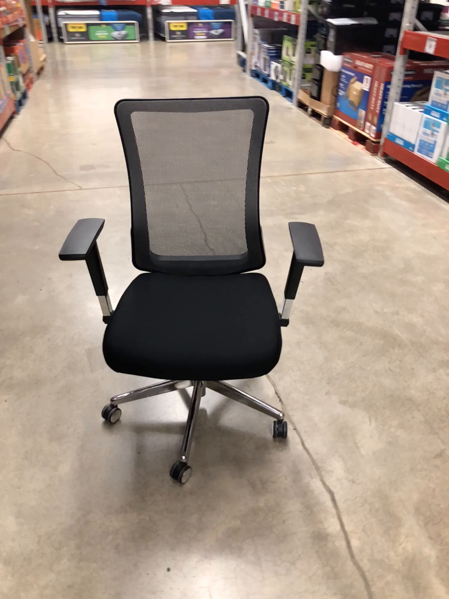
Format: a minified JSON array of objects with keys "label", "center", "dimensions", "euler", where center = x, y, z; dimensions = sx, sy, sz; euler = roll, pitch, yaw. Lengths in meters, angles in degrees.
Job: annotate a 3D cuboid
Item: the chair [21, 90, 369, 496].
[{"label":"chair","center":[-0.097,-0.052,1.531],"dimensions":[0.690,0.987,0.712],"euler":[-5,33,-7]}]
